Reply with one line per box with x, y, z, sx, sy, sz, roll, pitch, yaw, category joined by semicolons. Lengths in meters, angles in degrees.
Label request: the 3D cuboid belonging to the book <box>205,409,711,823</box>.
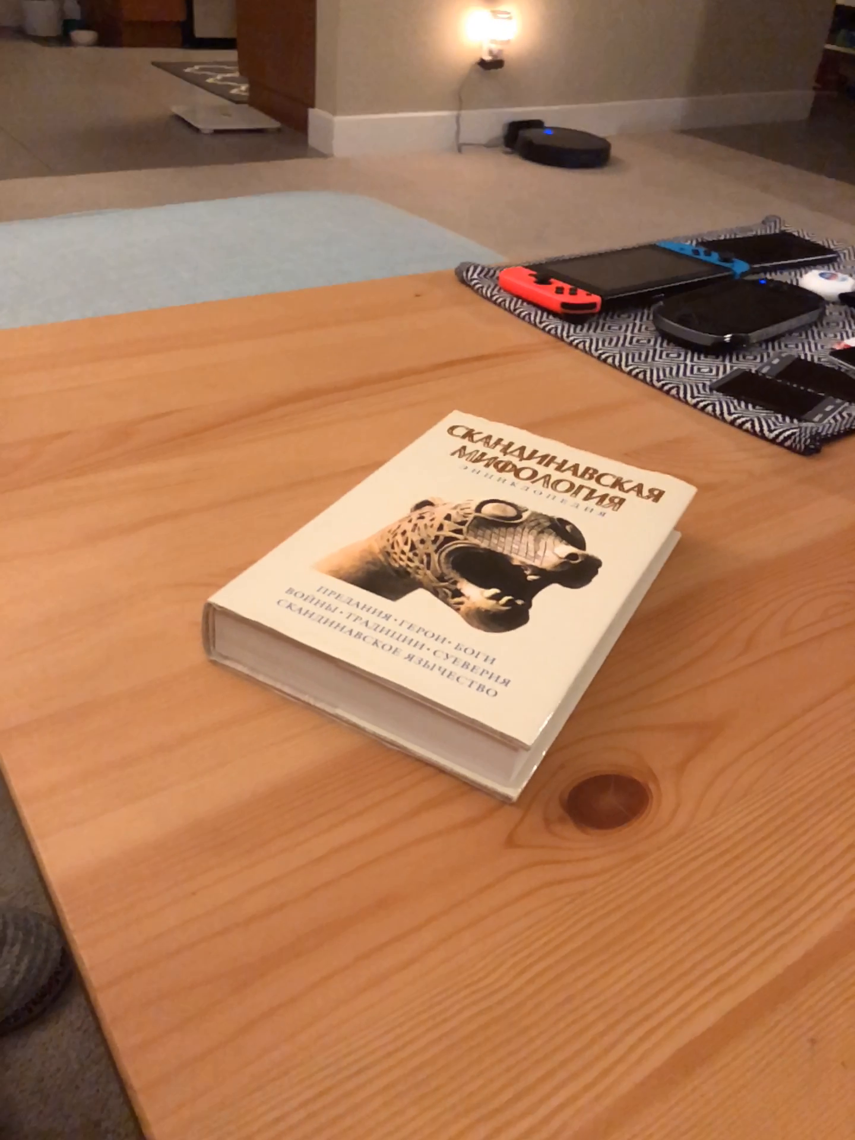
0.026;0.001;0.435;0.146;0.037;0.211;21;40;22;book
